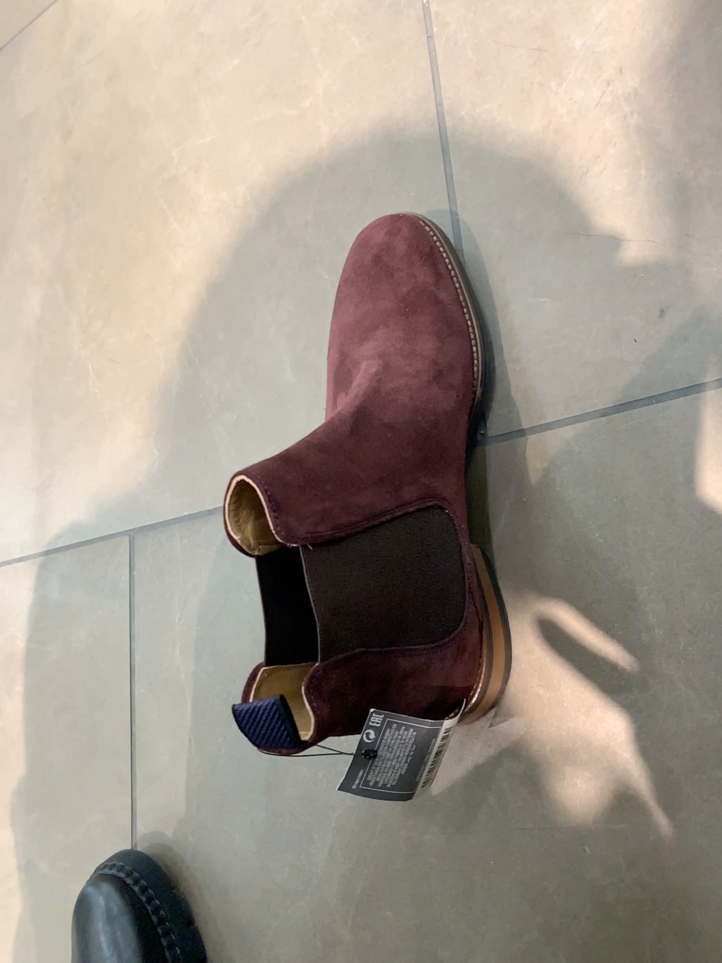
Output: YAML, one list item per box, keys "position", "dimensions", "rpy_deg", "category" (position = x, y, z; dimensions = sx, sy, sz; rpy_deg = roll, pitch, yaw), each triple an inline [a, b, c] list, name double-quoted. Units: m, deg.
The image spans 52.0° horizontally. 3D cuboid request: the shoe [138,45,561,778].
- position: [-0.007, -0.022, 0.378]
  dimensions: [0.114, 0.161, 0.298]
  rpy_deg: [-16, 72, 31]
  category: "shoe"
